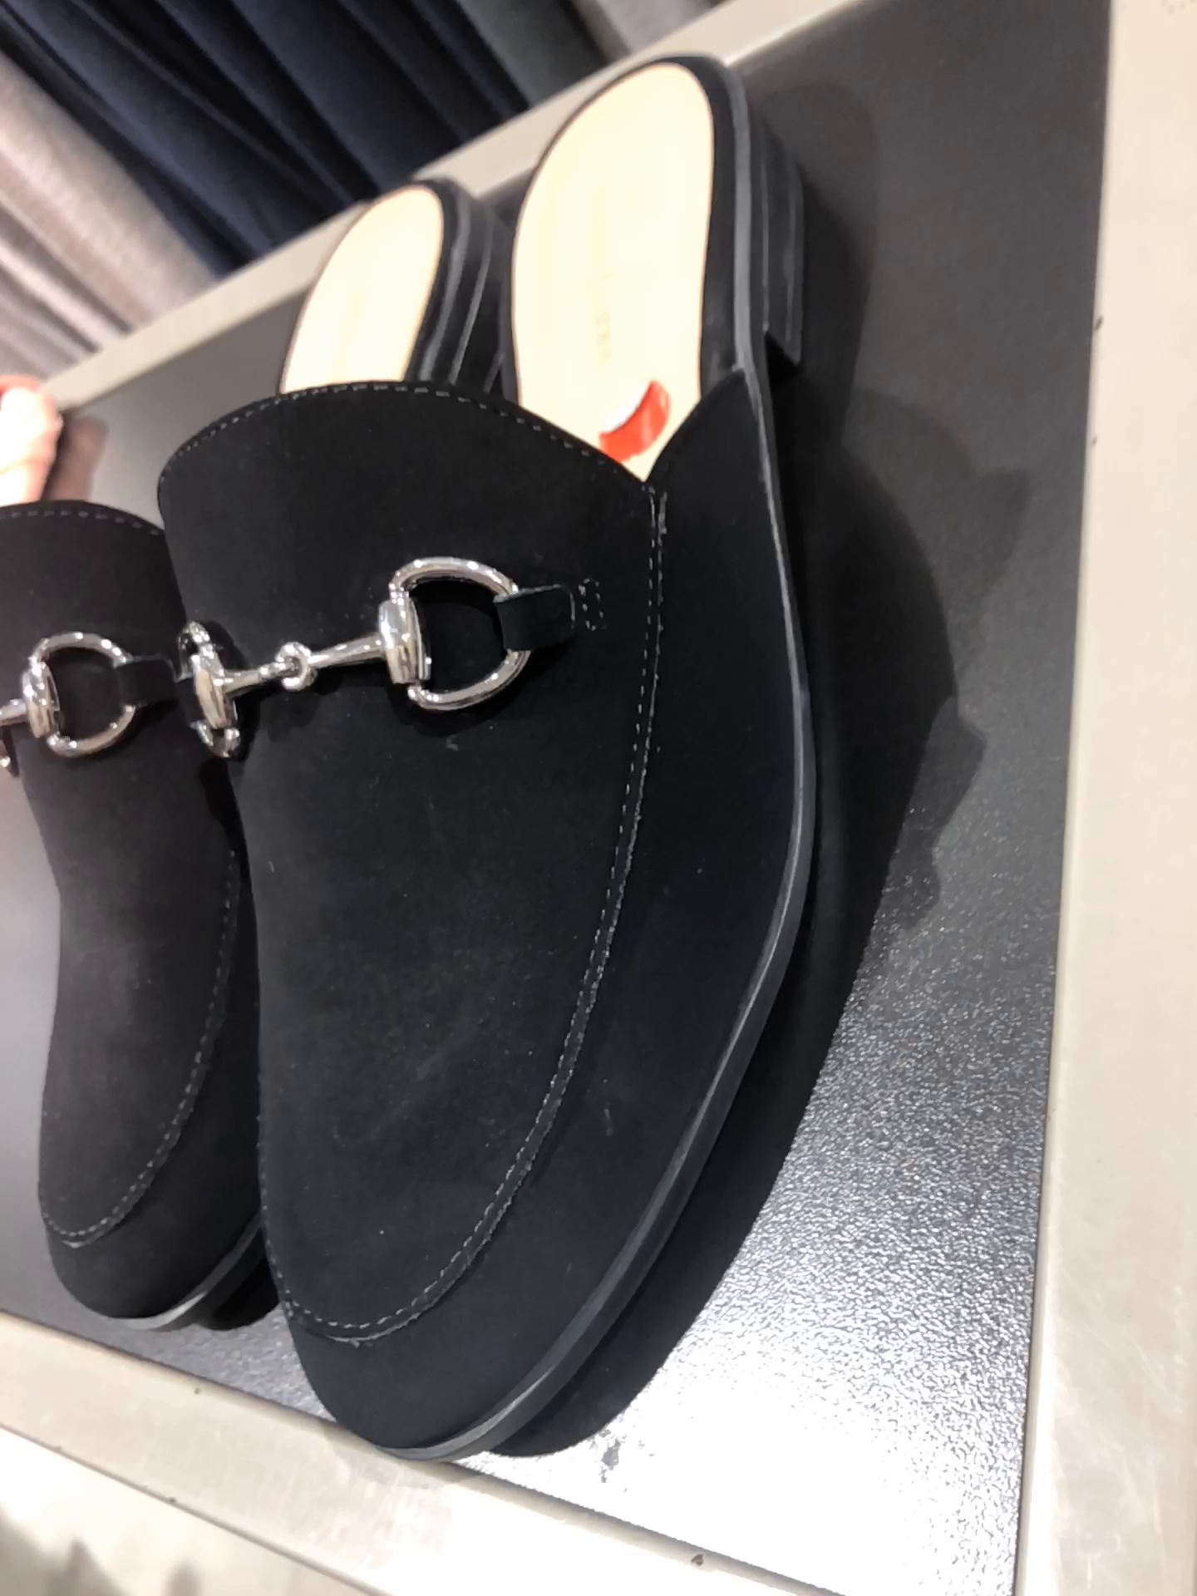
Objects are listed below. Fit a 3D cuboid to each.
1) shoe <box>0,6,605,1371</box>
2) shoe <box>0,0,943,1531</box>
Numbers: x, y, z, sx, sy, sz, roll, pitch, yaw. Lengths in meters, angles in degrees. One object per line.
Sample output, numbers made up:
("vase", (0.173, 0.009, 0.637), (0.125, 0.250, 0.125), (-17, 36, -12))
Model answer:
("shoe", (-0.071, -0.017, 0.262), (0.090, 0.080, 0.220), (-6, 71, 40))
("shoe", (-0.011, -0.023, 0.203), (0.090, 0.070, 0.220), (-9, 63, 39))
